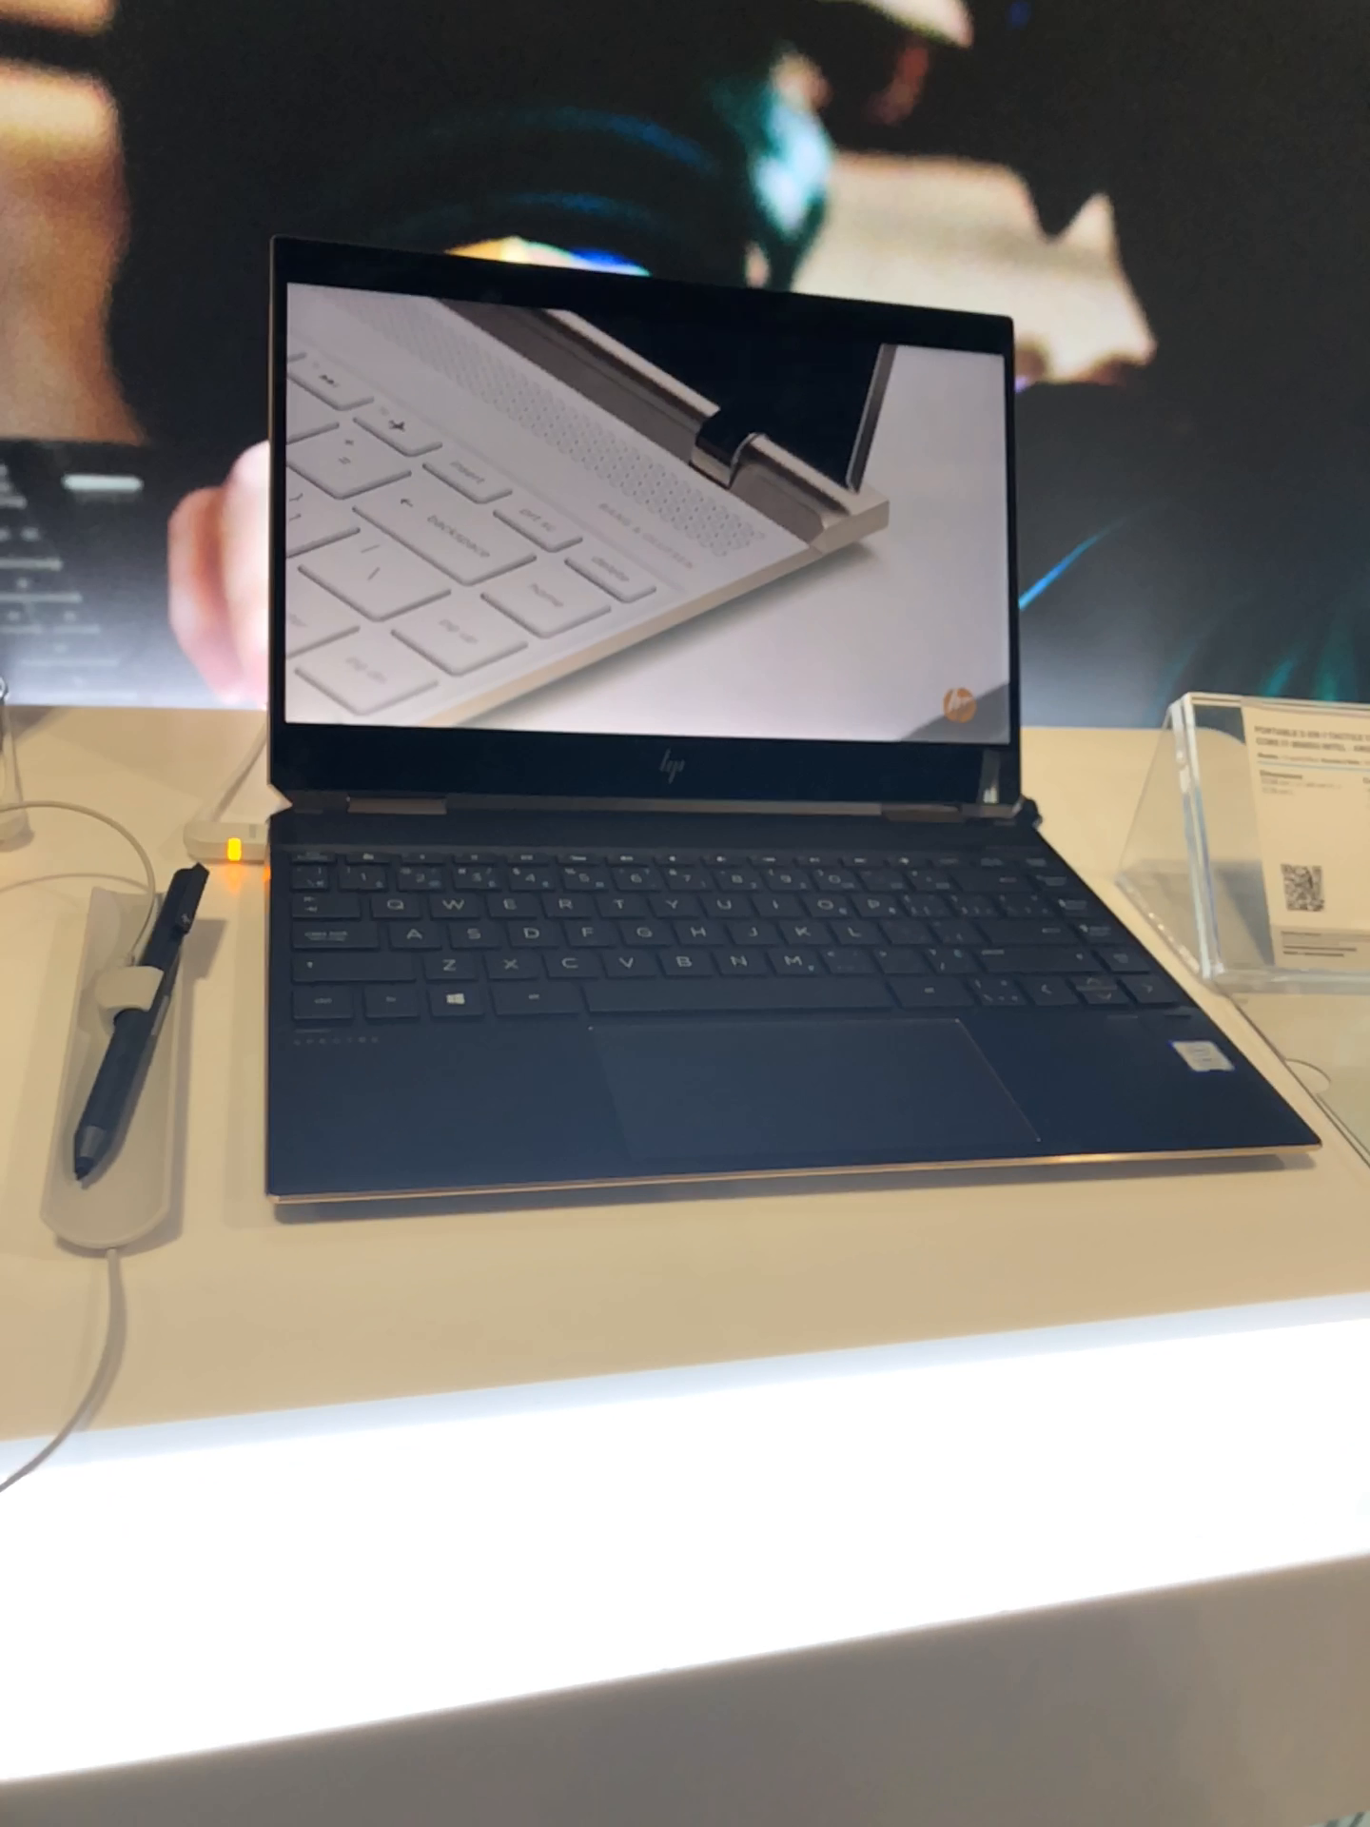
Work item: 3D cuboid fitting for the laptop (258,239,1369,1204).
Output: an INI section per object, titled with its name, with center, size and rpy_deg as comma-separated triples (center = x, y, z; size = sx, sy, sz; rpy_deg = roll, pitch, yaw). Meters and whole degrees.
[laptop]
center = 0.018, -0.094, 0.511
size = 0.305, 0.172, 0.347
rpy_deg = 0, 30, -15
